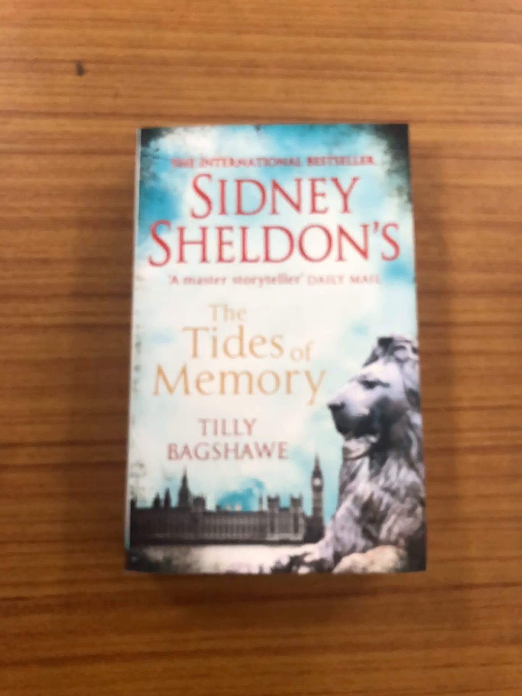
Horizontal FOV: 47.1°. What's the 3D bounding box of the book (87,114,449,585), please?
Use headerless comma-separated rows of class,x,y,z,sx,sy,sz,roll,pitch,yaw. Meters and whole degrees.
book,0.002,-0.001,0.232,0.122,0.038,0.168,-1,81,1
